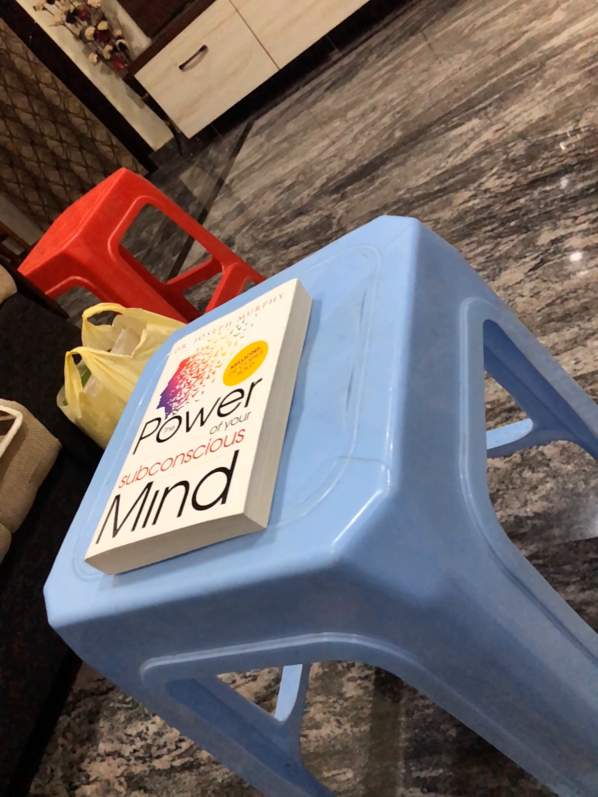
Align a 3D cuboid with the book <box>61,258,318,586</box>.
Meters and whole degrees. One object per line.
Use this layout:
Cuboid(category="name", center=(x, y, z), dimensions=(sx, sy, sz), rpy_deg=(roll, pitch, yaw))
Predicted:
Cuboid(category="book", center=(-0.064, 0.010, 0.429), dimensions=(0.140, 0.030, 0.200), rpy_deg=(-24, 38, 32))
